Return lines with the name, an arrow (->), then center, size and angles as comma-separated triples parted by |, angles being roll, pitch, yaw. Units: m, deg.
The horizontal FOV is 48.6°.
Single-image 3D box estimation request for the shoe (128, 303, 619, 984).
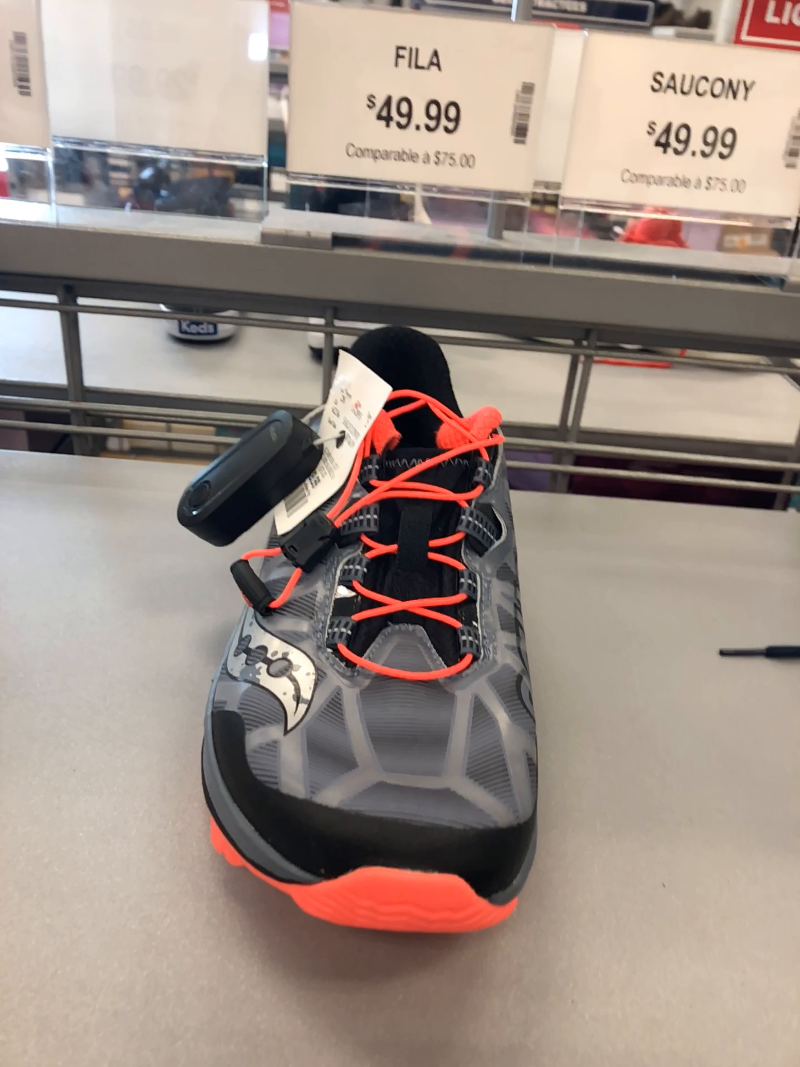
shoe -> -0.012, 0.006, 0.351 | 0.110, 0.109, 0.292 | 4, 29, -3
